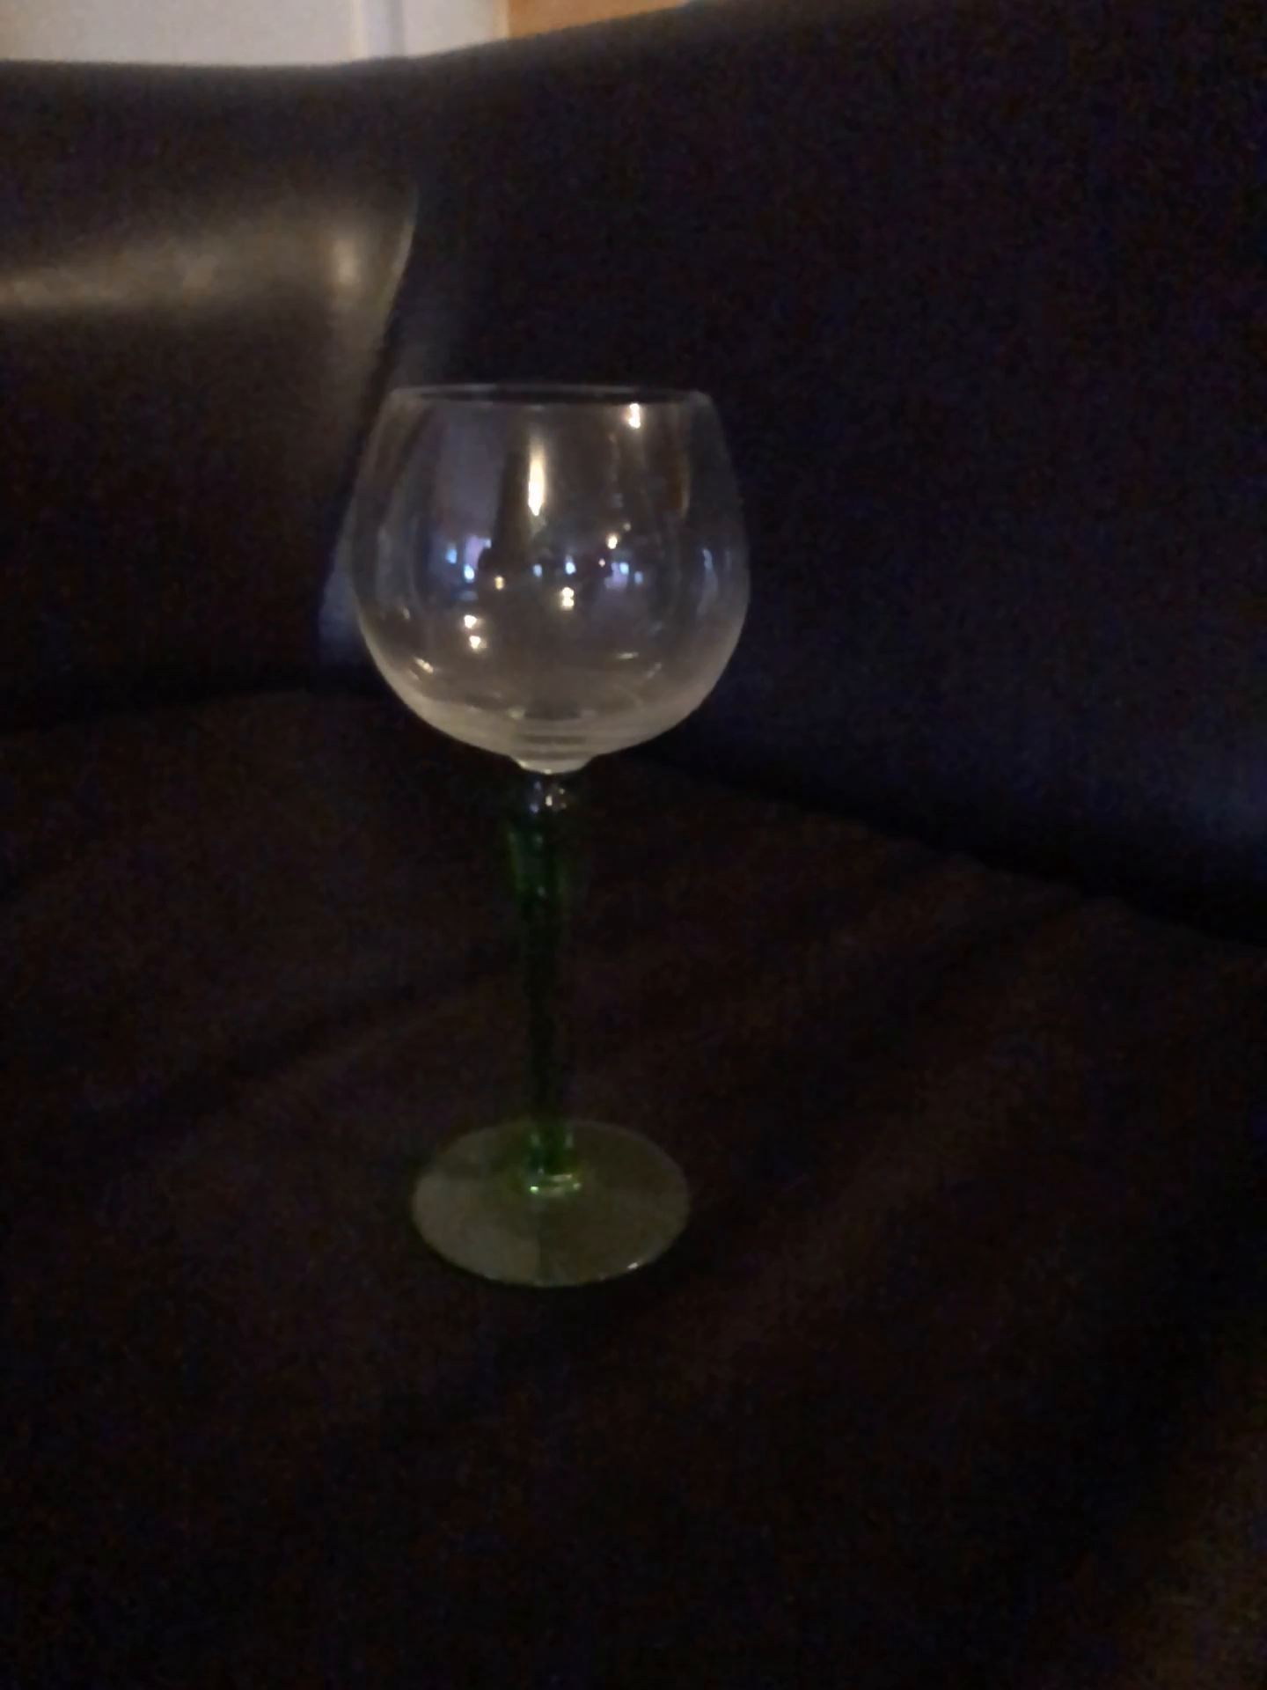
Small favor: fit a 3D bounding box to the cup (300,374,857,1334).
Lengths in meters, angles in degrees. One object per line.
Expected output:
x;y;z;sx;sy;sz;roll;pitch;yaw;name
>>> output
-0.013;-0.006;0.313;0.080;0.185;0.080;1;19;0;cup
